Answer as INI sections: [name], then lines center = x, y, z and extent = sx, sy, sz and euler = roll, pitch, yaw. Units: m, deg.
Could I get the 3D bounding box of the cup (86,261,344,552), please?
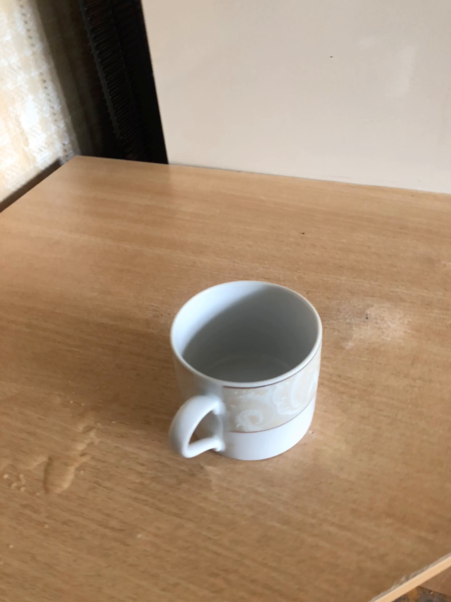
[cup]
center = 0.002, 0.046, 0.253
extent = 0.075, 0.069, 0.105
euler = 19, 46, 27
